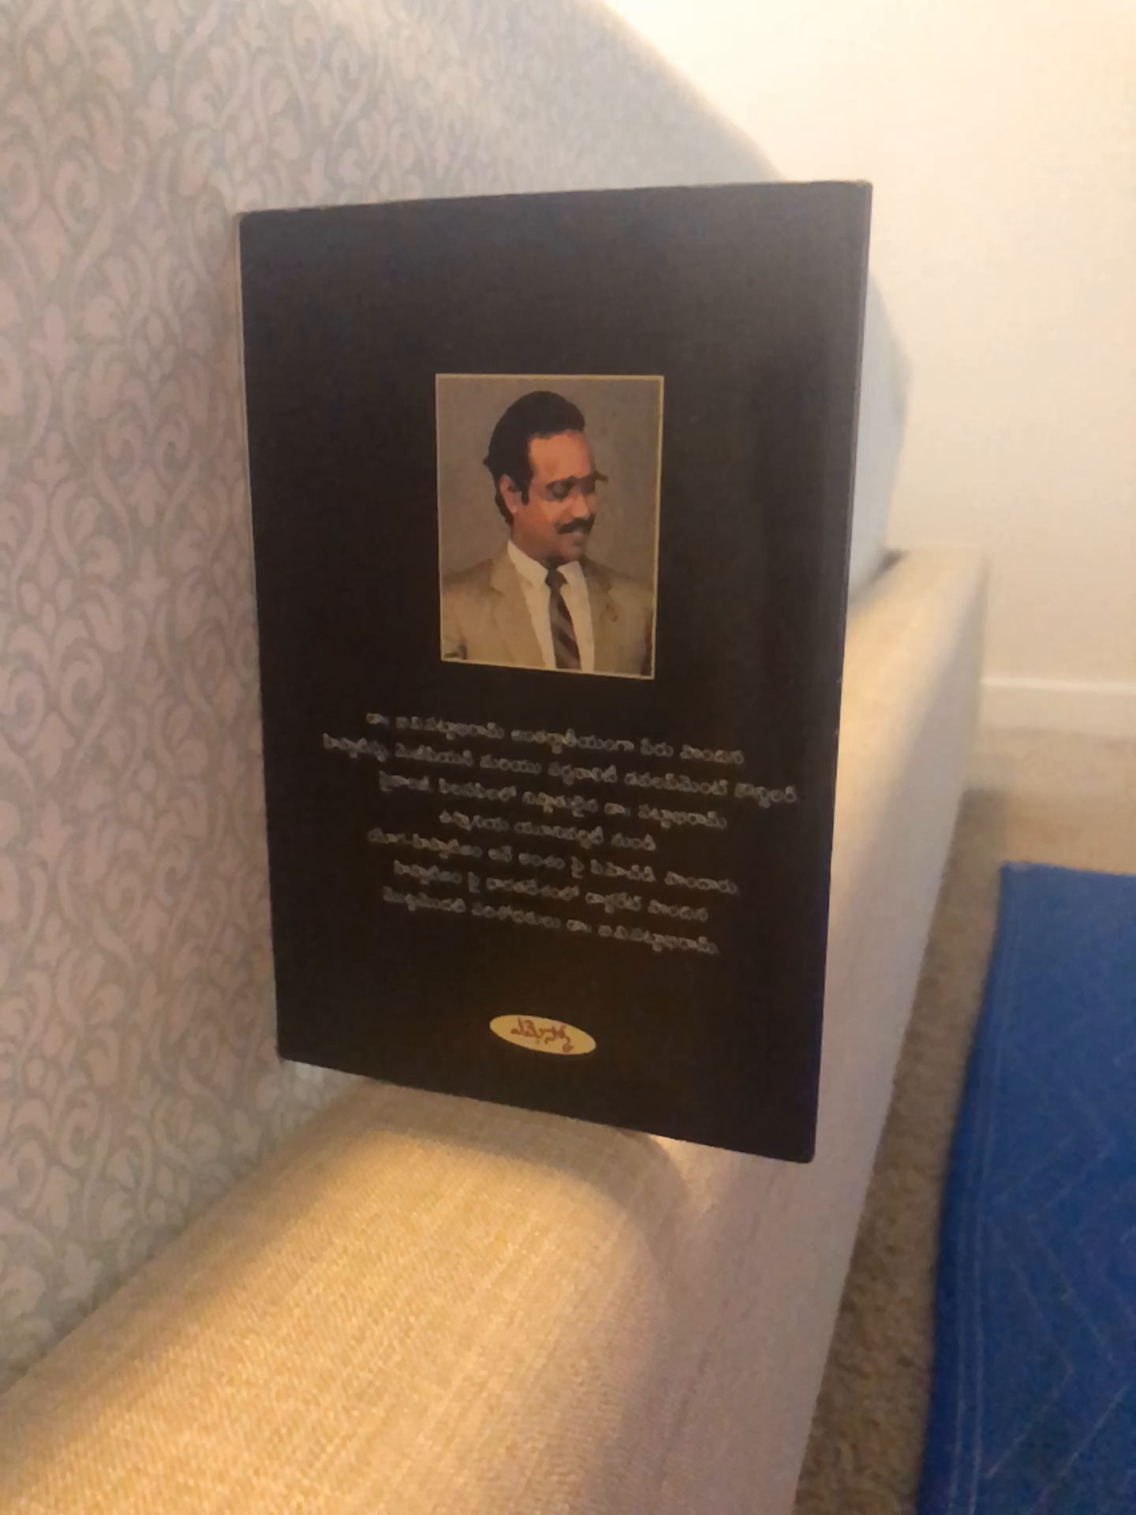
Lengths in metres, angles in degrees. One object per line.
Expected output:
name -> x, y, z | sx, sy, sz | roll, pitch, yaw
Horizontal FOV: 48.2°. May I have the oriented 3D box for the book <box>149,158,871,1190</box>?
book -> -0.012, -0.010, 0.237 | 0.127, 0.175, 0.011 | 3, 14, 18
